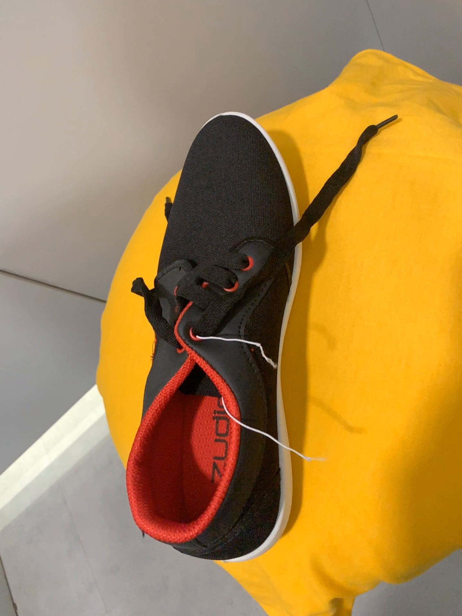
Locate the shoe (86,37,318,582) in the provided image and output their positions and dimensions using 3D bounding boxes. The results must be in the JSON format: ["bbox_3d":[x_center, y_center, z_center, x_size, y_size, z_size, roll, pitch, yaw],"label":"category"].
[{"bbox_3d":[-0.008,-0.002,0.295,0.090,0.100,0.270,-6,76,29],"label":"shoe"}]
